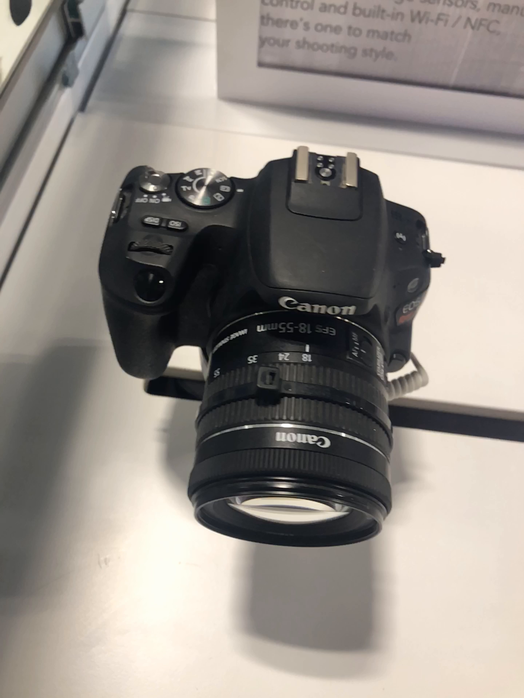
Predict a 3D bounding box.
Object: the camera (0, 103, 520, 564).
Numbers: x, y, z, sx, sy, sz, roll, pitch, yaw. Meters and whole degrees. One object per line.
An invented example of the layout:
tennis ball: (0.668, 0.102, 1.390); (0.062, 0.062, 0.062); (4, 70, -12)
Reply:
camera: (0.000, 0.000, 0.202); (0.122, 0.100, 0.110); (6, 58, 1)
